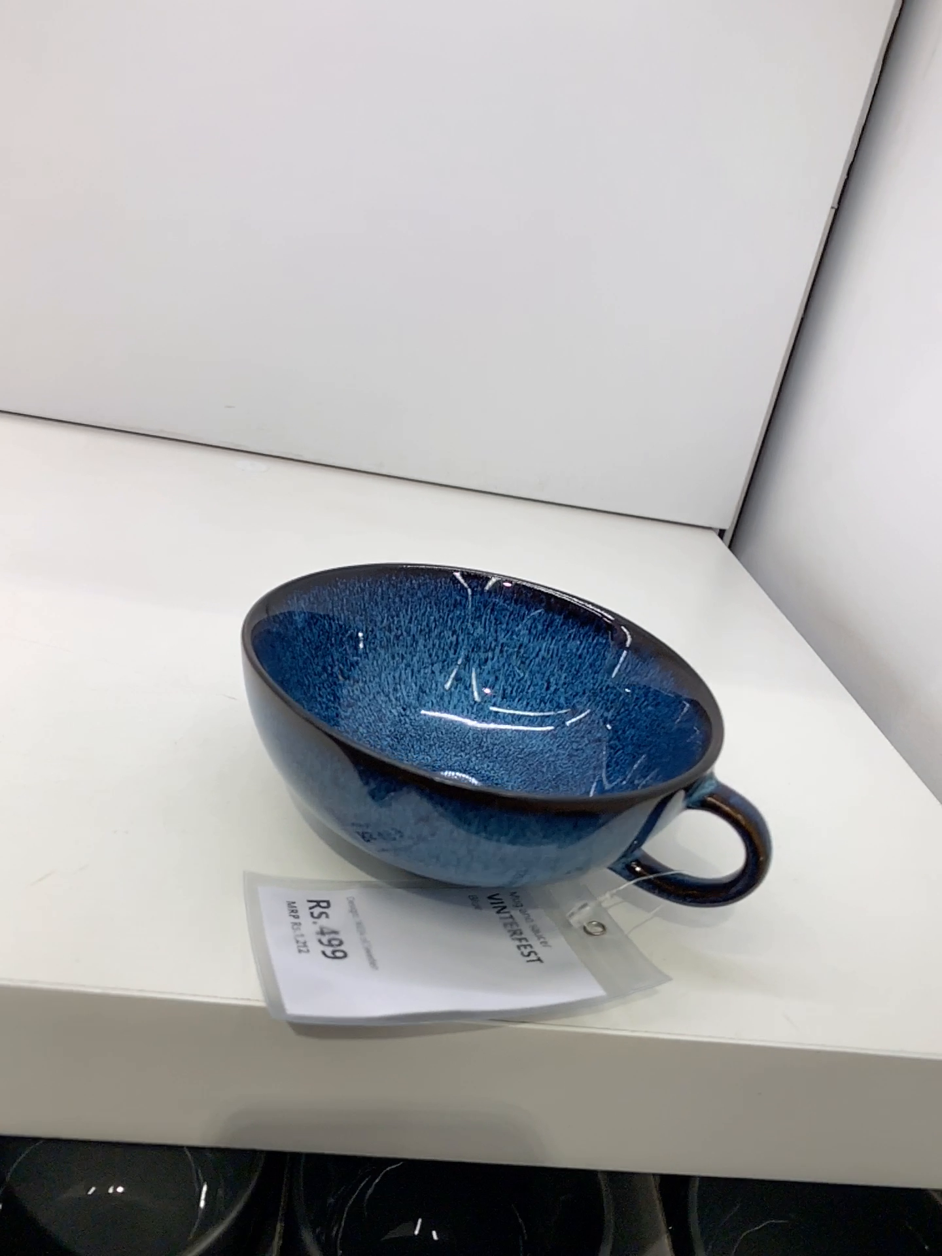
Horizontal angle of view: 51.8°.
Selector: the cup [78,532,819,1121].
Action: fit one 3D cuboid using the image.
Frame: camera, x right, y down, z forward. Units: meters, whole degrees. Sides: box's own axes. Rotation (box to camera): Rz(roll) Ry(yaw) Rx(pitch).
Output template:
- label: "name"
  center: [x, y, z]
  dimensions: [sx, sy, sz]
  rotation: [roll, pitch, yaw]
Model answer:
- label: "cup"
  center: [0.001, 0.033, 0.271]
  dimensions: [0.160, 0.050, 0.130]
  rotation: [20, 24, 19]
